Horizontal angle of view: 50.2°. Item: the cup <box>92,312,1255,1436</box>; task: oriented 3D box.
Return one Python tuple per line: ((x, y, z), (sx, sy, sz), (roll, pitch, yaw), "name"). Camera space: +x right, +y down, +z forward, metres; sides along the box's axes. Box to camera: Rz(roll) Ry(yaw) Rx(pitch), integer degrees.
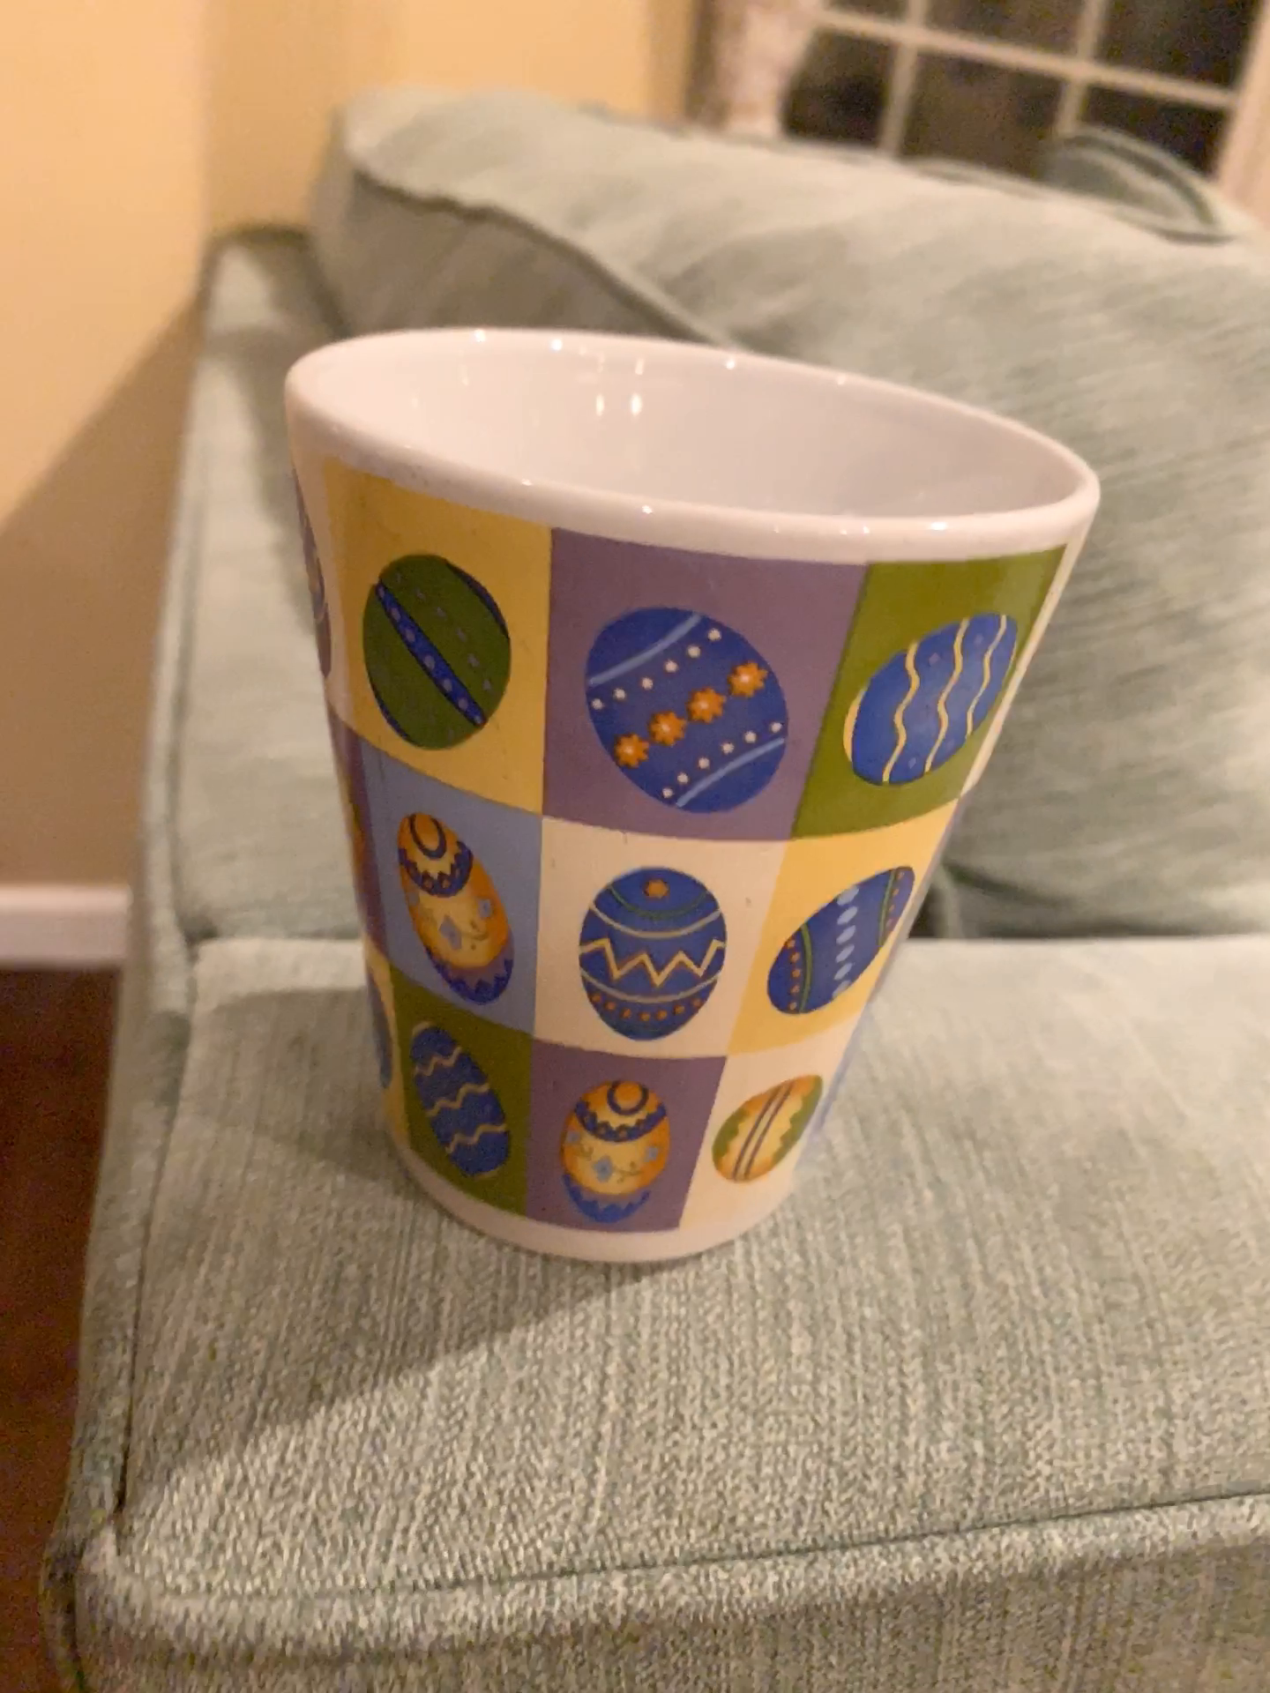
((0.012, -0.016, 0.184), (0.095, 0.087, 0.123), (21, 30, 23), "cup")
